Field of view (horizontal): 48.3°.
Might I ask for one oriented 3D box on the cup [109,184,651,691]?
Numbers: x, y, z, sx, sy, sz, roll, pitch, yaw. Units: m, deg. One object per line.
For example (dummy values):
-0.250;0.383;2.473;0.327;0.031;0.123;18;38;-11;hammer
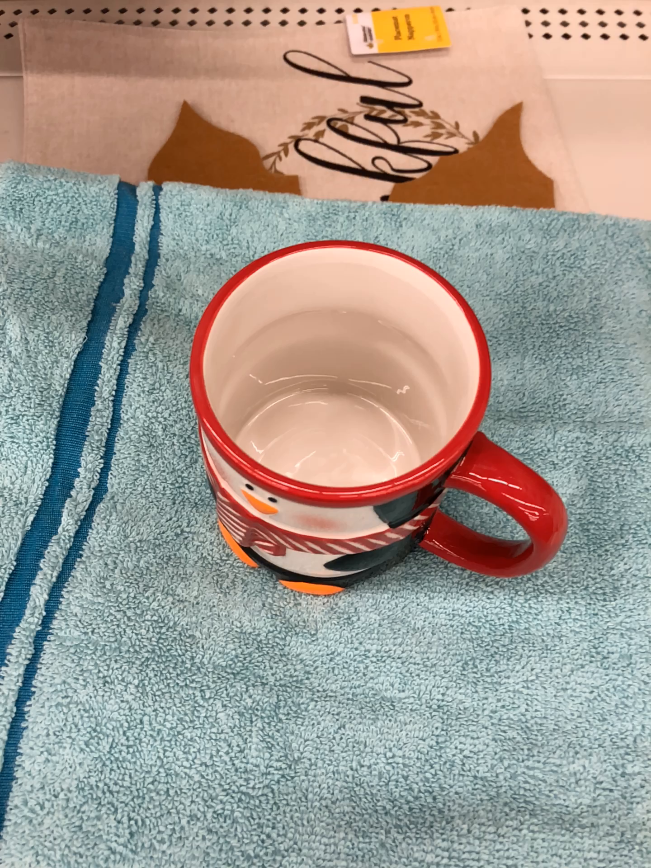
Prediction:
0.017;0.008;0.253;0.130;0.110;0.090;28;66;11;cup
